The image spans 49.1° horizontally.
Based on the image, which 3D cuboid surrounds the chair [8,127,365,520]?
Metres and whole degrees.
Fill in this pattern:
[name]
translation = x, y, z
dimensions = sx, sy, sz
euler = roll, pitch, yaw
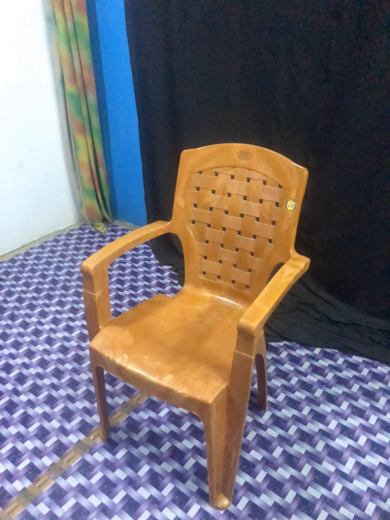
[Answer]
[chair]
translation = 0.022, 0.118, 1.238
dimensions = 0.600, 0.786, 0.663
euler = 18, 35, 30
